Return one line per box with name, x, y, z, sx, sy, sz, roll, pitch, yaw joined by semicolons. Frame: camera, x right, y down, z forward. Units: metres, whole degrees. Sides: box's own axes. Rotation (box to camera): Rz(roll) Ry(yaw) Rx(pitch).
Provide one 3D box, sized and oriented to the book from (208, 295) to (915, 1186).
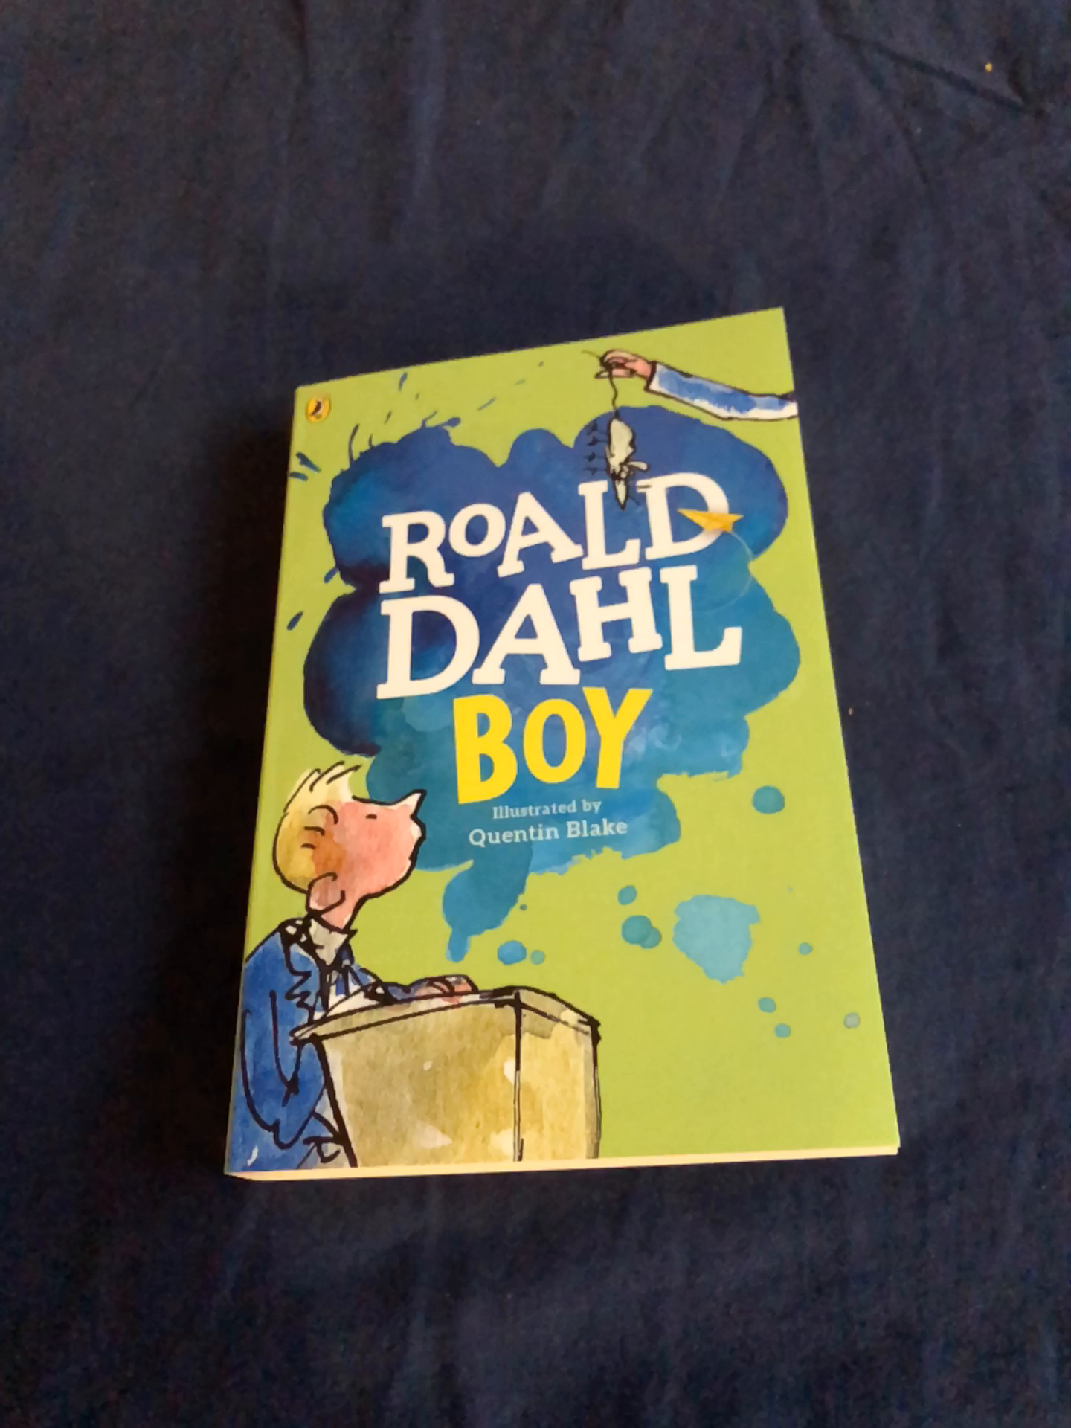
book;0.002;-0.001;0.260;0.125;0.027;0.189;-5;65;8
